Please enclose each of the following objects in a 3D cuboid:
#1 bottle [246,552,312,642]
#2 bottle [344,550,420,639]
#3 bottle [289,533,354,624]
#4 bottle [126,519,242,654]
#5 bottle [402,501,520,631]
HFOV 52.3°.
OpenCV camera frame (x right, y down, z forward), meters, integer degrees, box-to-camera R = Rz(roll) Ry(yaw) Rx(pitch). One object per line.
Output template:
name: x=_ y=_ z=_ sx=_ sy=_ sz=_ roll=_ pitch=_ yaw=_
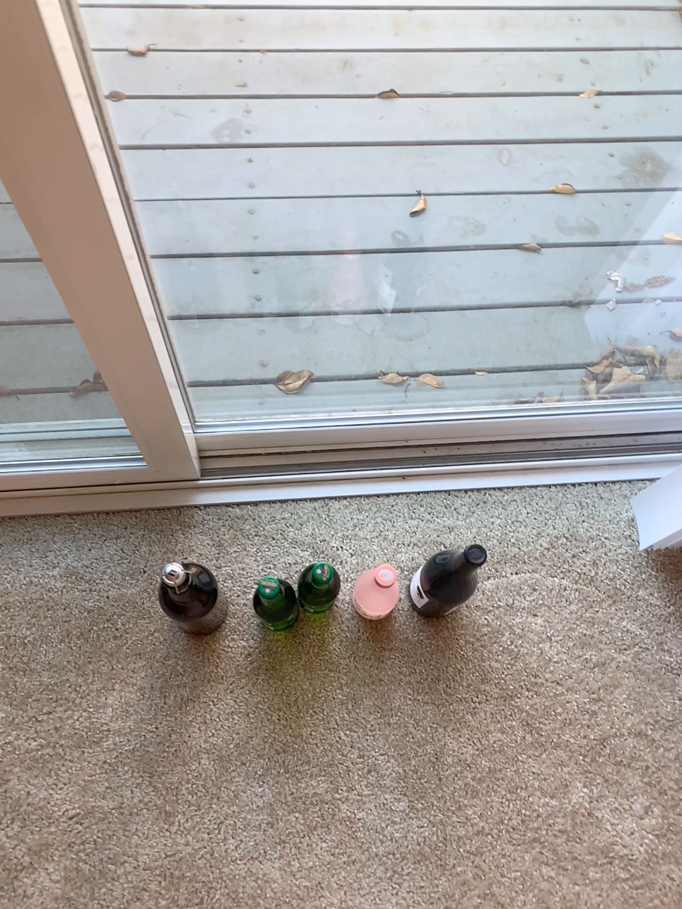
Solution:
bottle: x=-0.085 y=0.203 z=0.965 sx=0.070 sy=0.190 sz=0.080 roll=-10 pitch=70 yaw=-8
bottle: x=0.054 y=0.202 z=0.981 sx=0.070 sy=0.170 sz=0.080 roll=15 pitch=68 yaw=2
bottle: x=-0.032 y=0.179 z=0.978 sx=0.070 sy=0.190 sz=0.080 roll=-6 pitch=69 yaw=-7
bottle: x=-0.198 y=0.185 z=0.919 sx=0.090 sy=0.280 sz=0.100 roll=-18 pitch=71 yaw=-11
bottle: x=0.160 y=0.165 z=0.969 sx=0.090 sy=0.250 sz=0.110 roll=15 pitch=68 yaw=2
